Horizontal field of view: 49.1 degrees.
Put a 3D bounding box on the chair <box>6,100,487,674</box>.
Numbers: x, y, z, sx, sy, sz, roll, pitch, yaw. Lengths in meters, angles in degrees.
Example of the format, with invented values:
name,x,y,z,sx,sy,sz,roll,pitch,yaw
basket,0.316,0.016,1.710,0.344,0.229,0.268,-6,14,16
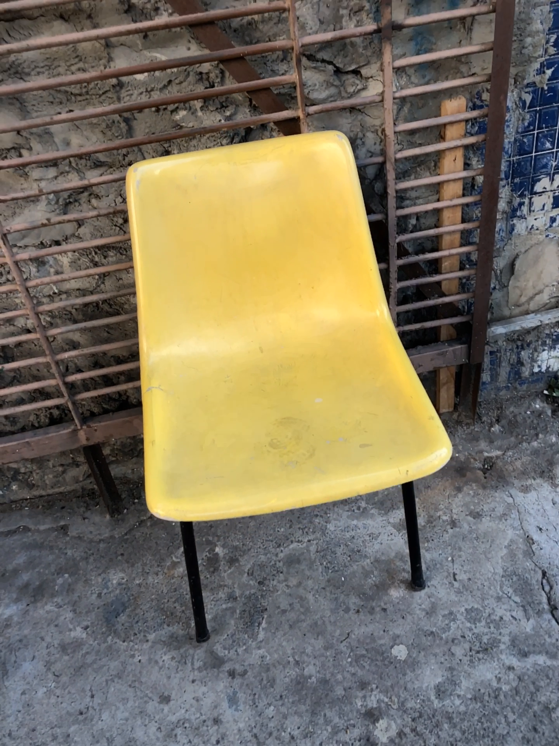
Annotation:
name,x,y,z,sx,sy,sz,roll,pitch,yaw
chair,-0.013,0.025,0.999,0.480,0.715,0.473,-11,35,-2
